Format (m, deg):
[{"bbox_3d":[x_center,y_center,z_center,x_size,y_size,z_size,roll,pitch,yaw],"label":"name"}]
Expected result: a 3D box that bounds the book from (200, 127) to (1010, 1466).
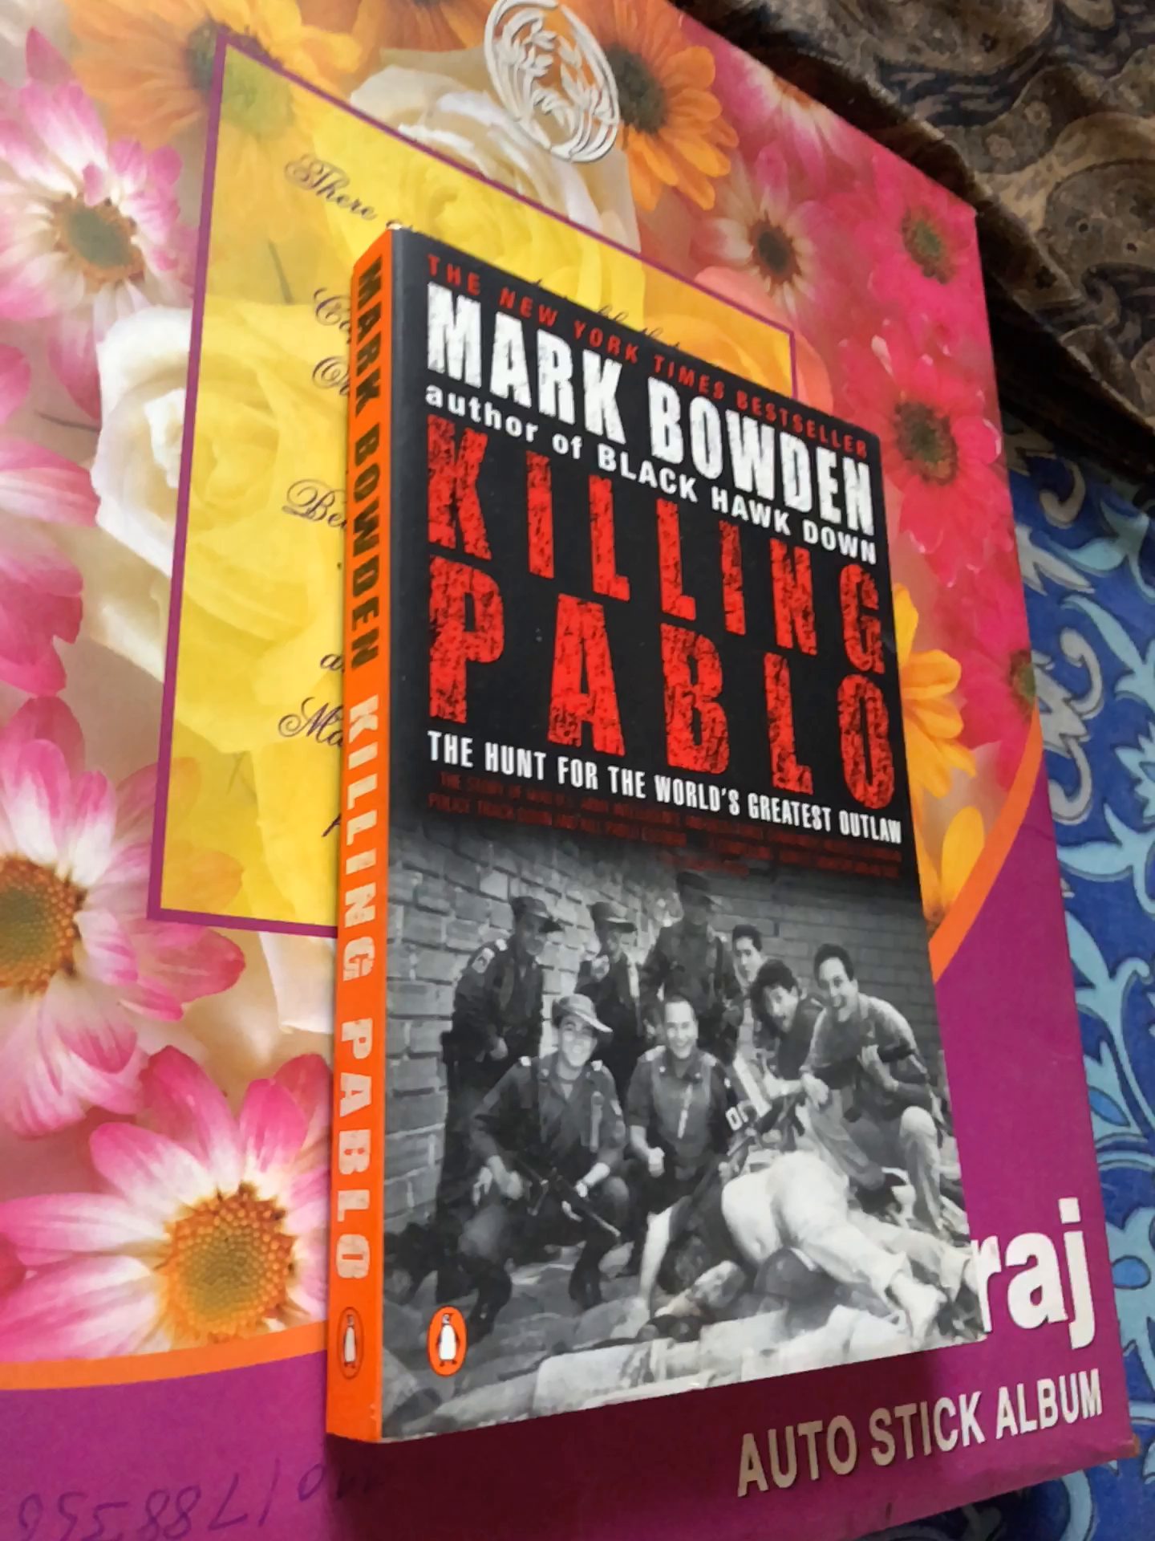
[{"bbox_3d":[0.007,-0.001,0.262,0.151,0.030,0.230,9,68,-32],"label":"book"}]
